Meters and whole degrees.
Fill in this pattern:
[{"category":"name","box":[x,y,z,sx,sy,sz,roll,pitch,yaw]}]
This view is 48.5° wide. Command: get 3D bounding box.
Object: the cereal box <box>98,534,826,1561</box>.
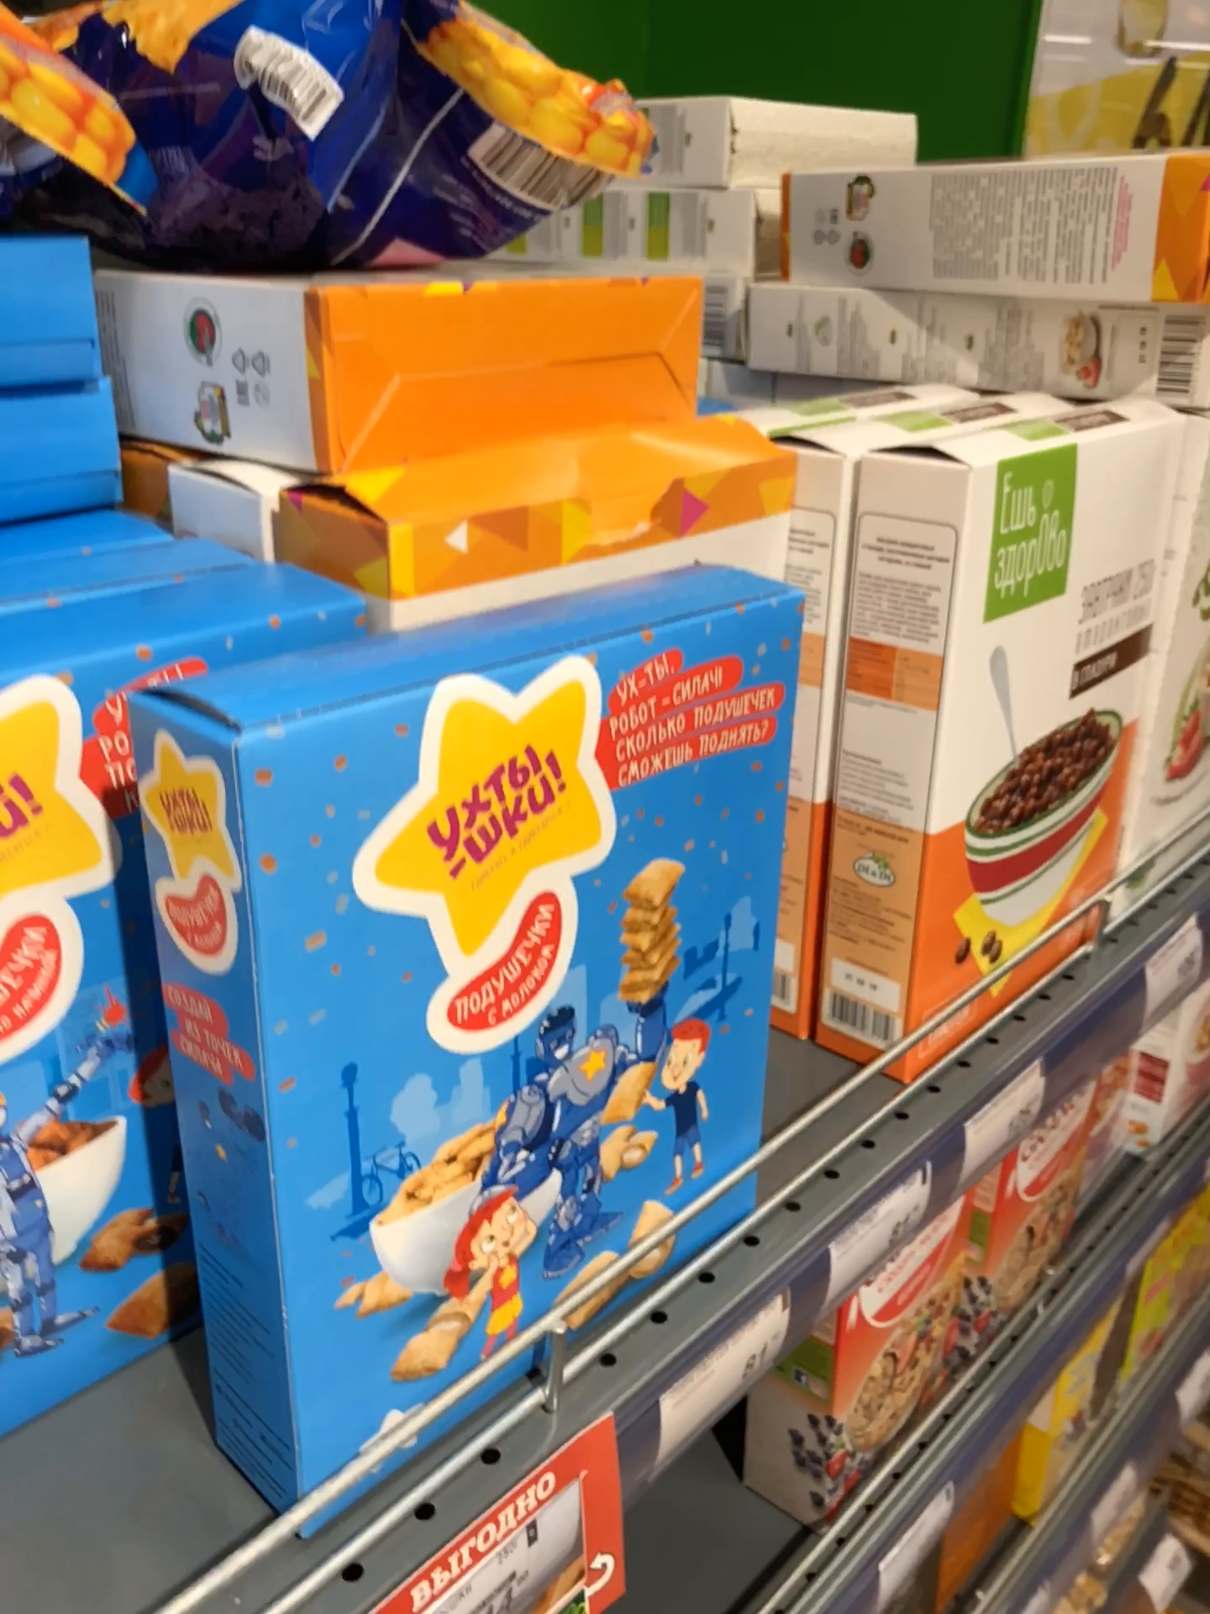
[{"category":"cereal box","box":[-0.026,0.058,0.394,0.201,0.239,0.050,-21,32,-40]}]
